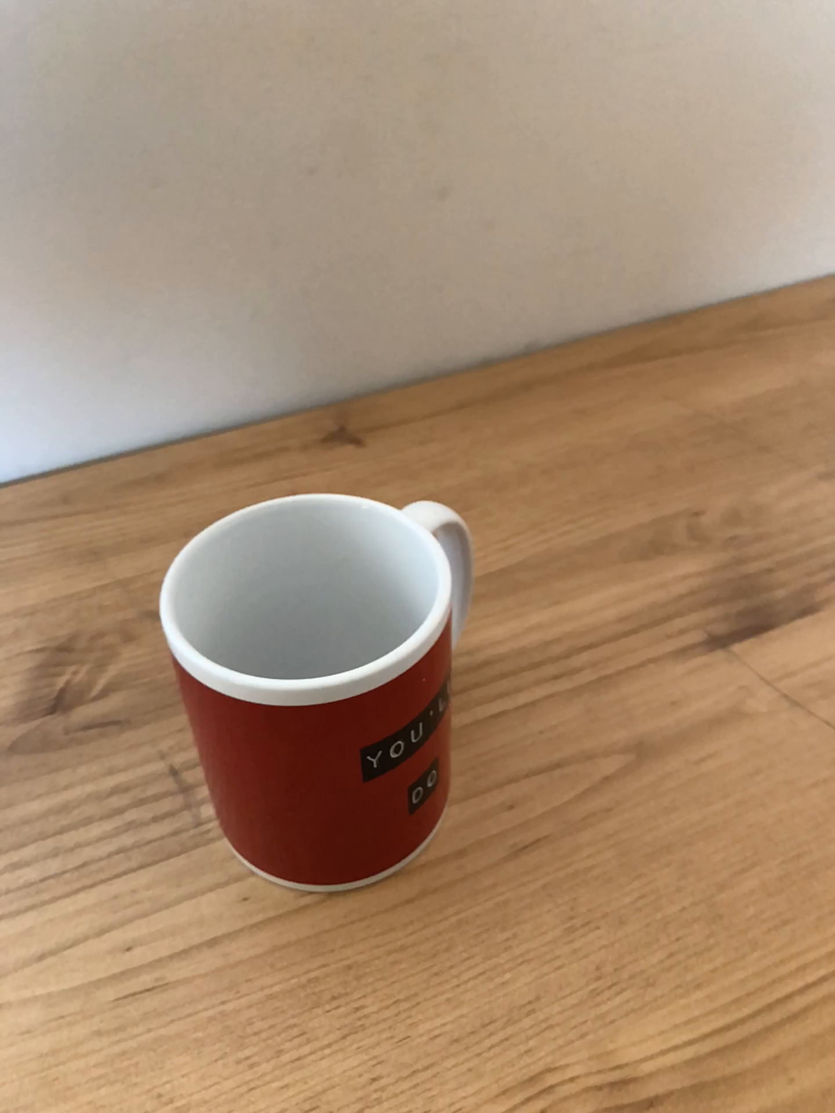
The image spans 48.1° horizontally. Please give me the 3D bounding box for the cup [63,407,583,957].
[{"bbox_3d":[-0.021,0.030,0.294,0.091,0.086,0.124,23,46,27],"label":"cup"}]
